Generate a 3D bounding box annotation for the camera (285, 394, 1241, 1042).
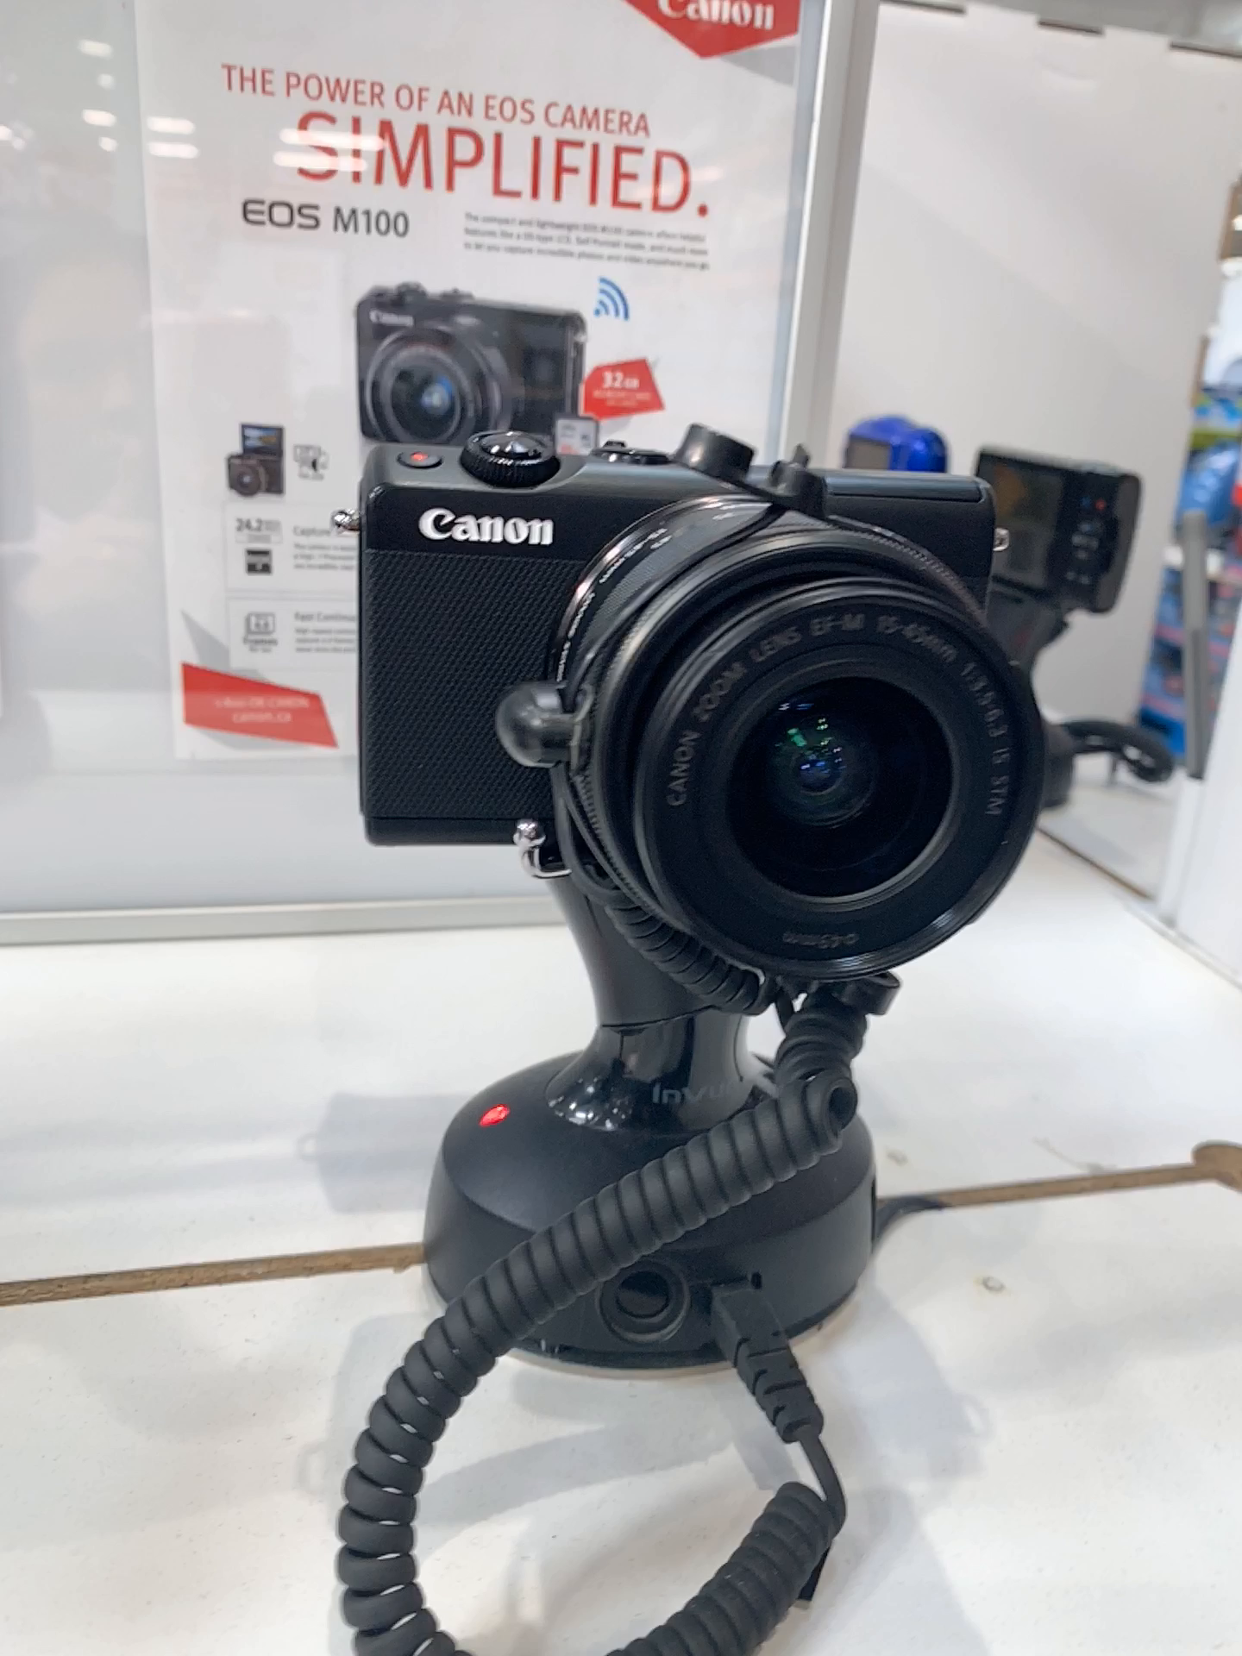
[{"bbox_3d":[0.012,-0.021,0.186,0.110,0.066,0.093,1,15,-11],"label":"camera"}]
